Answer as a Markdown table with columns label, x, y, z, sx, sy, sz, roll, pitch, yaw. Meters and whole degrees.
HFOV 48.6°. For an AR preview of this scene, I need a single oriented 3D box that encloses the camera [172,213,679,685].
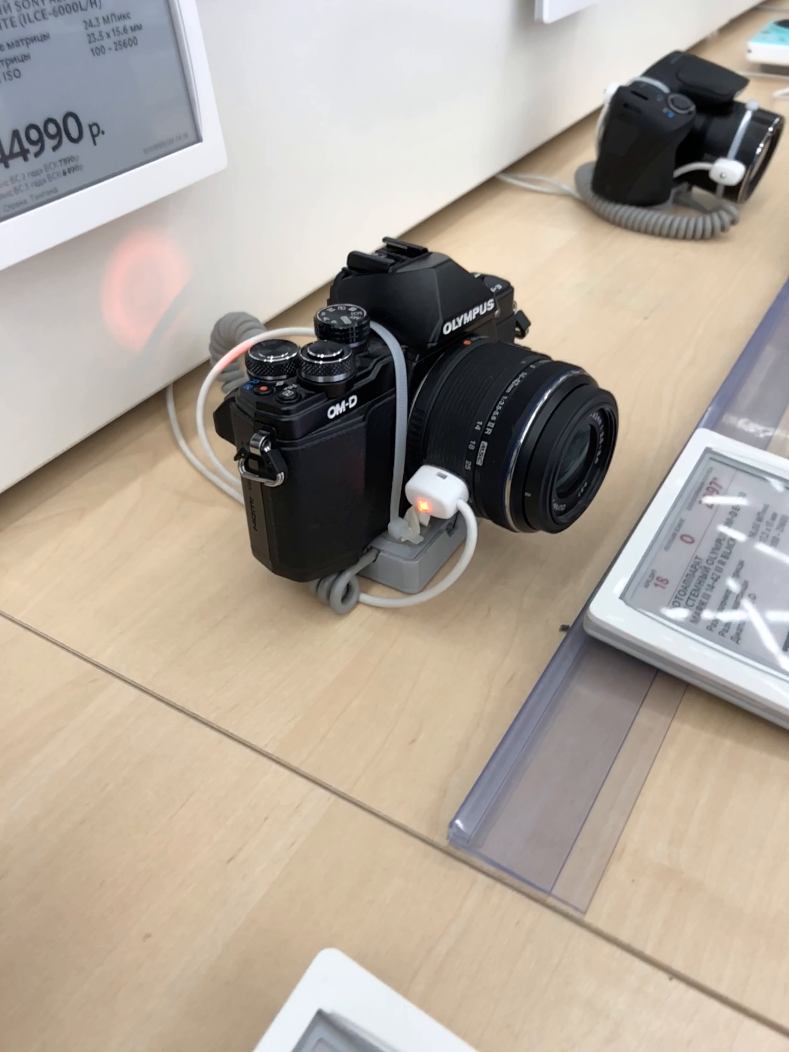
| label | x | y | z | sx | sy | sz | roll | pitch | yaw |
| --- | --- | --- | --- | --- | --- | --- | --- | --- | --- |
| camera | 0.013 | -0.034 | 0.278 | 0.100 | 0.079 | 0.112 | 24 | 46 | 30 |
